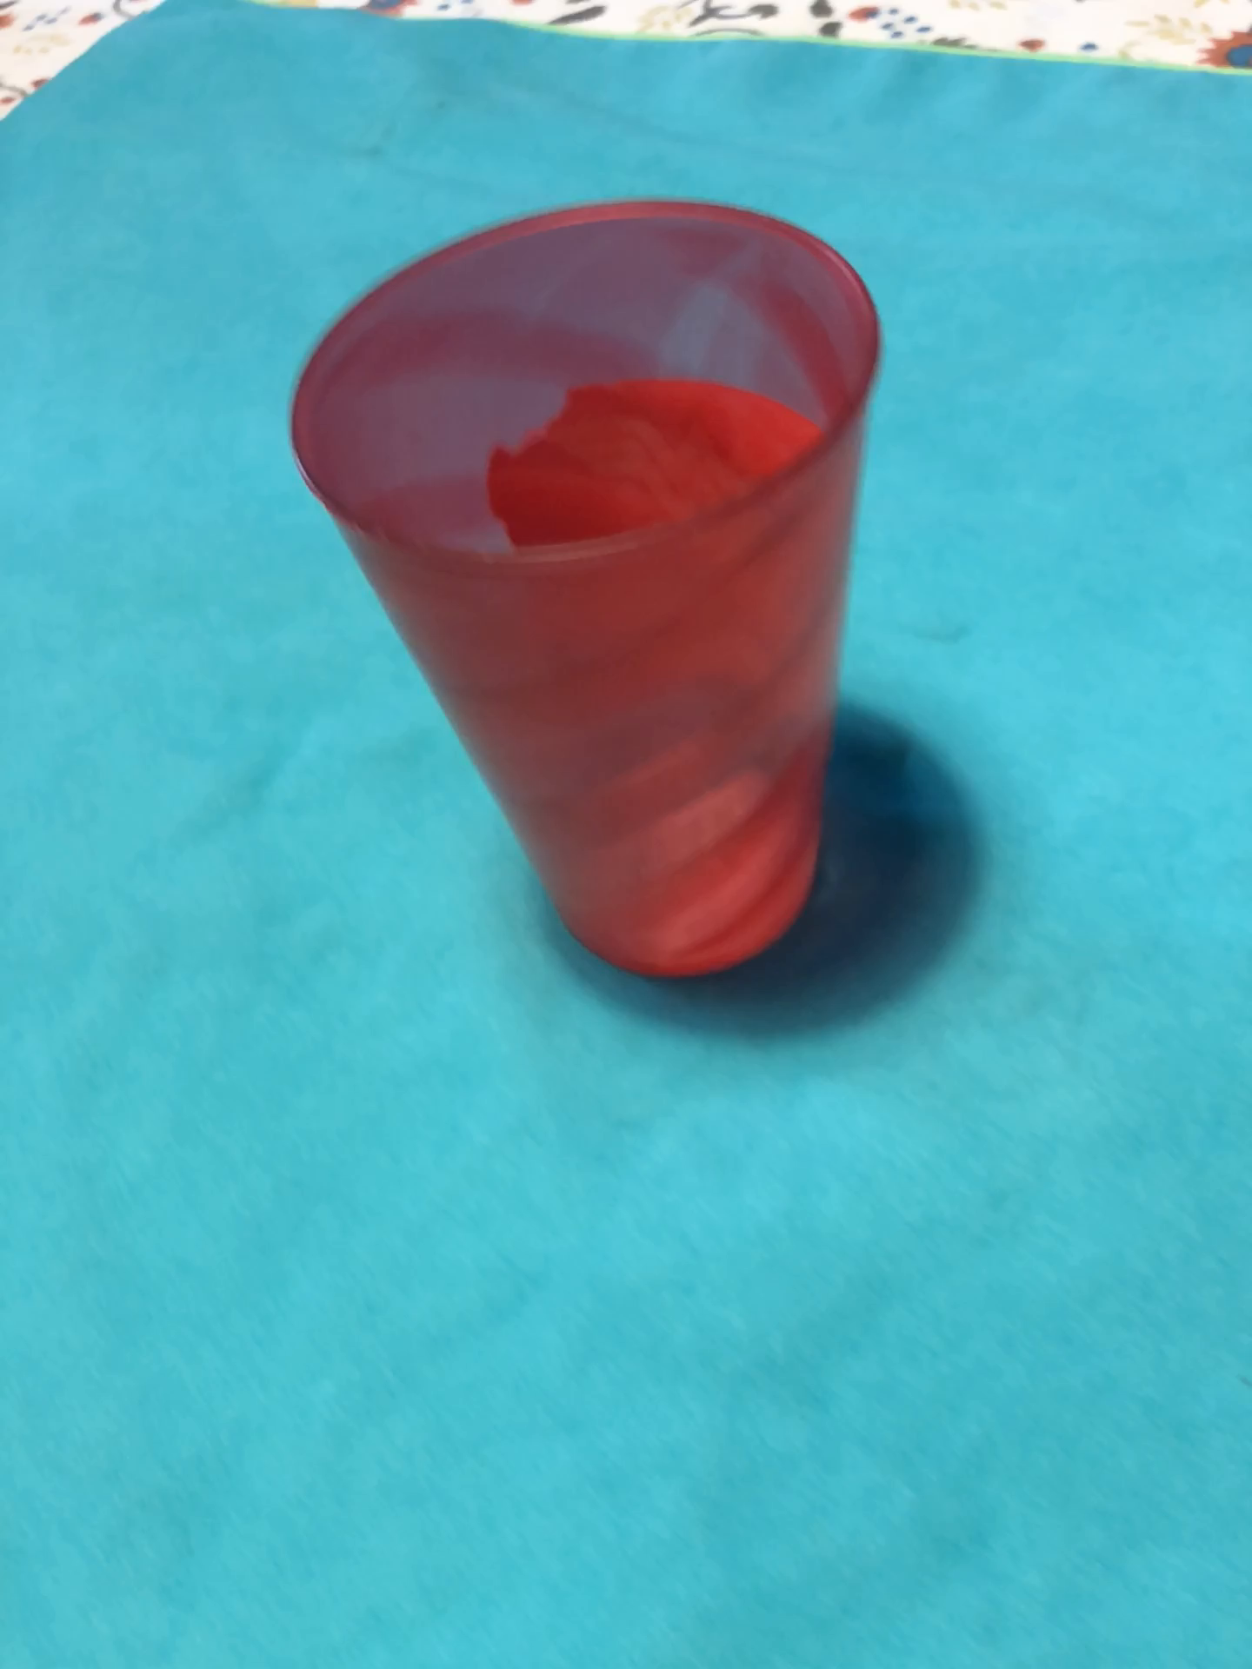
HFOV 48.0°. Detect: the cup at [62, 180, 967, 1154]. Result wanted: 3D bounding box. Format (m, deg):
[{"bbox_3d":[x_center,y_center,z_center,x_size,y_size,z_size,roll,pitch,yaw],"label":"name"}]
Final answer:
[{"bbox_3d":[-0.004,-0.026,0.225,0.090,0.109,0.090,-5,52,6],"label":"cup"}]
